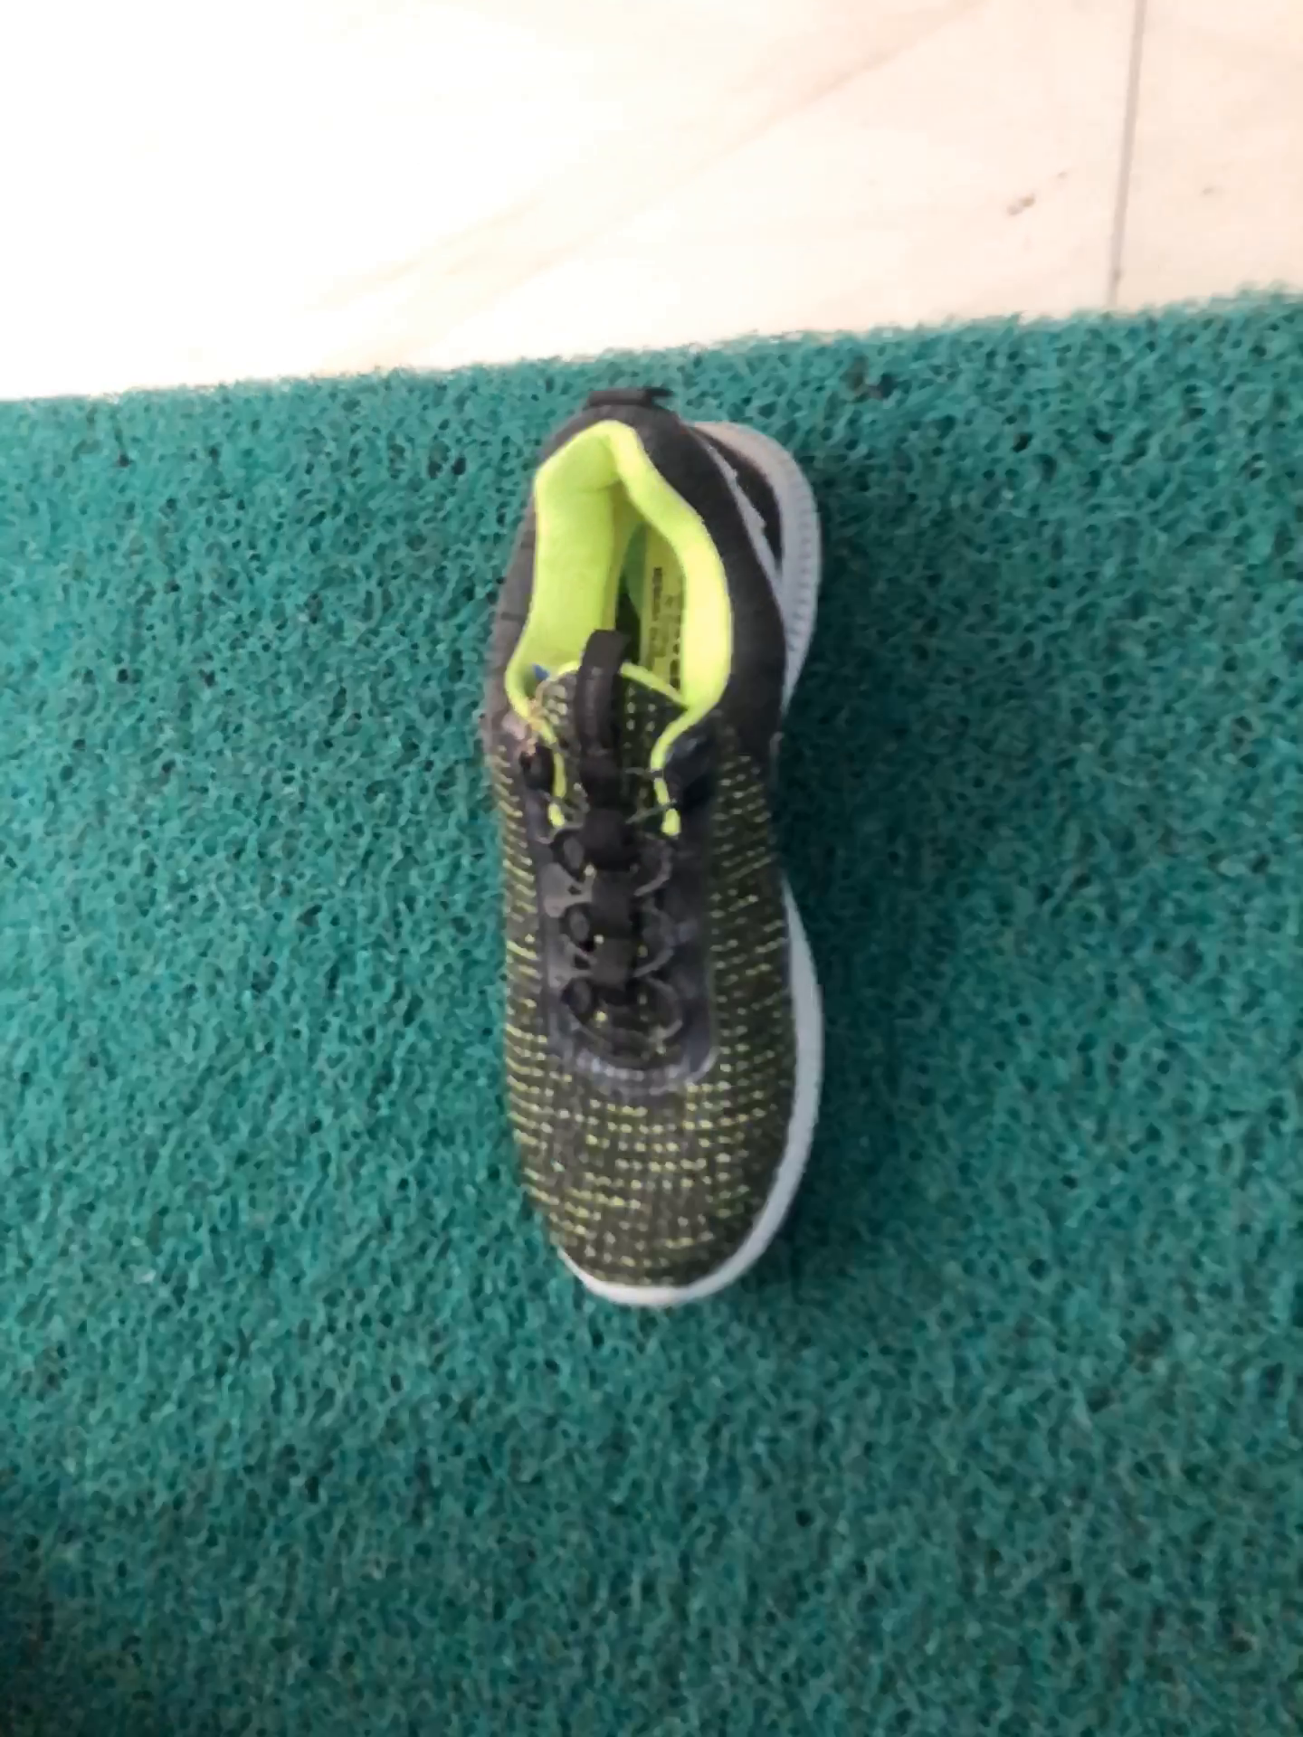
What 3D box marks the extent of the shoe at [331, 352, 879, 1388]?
[{"bbox_3d":[-0.006,-0.001,0.425,0.110,0.090,0.270,2,81,22],"label":"shoe"}]
